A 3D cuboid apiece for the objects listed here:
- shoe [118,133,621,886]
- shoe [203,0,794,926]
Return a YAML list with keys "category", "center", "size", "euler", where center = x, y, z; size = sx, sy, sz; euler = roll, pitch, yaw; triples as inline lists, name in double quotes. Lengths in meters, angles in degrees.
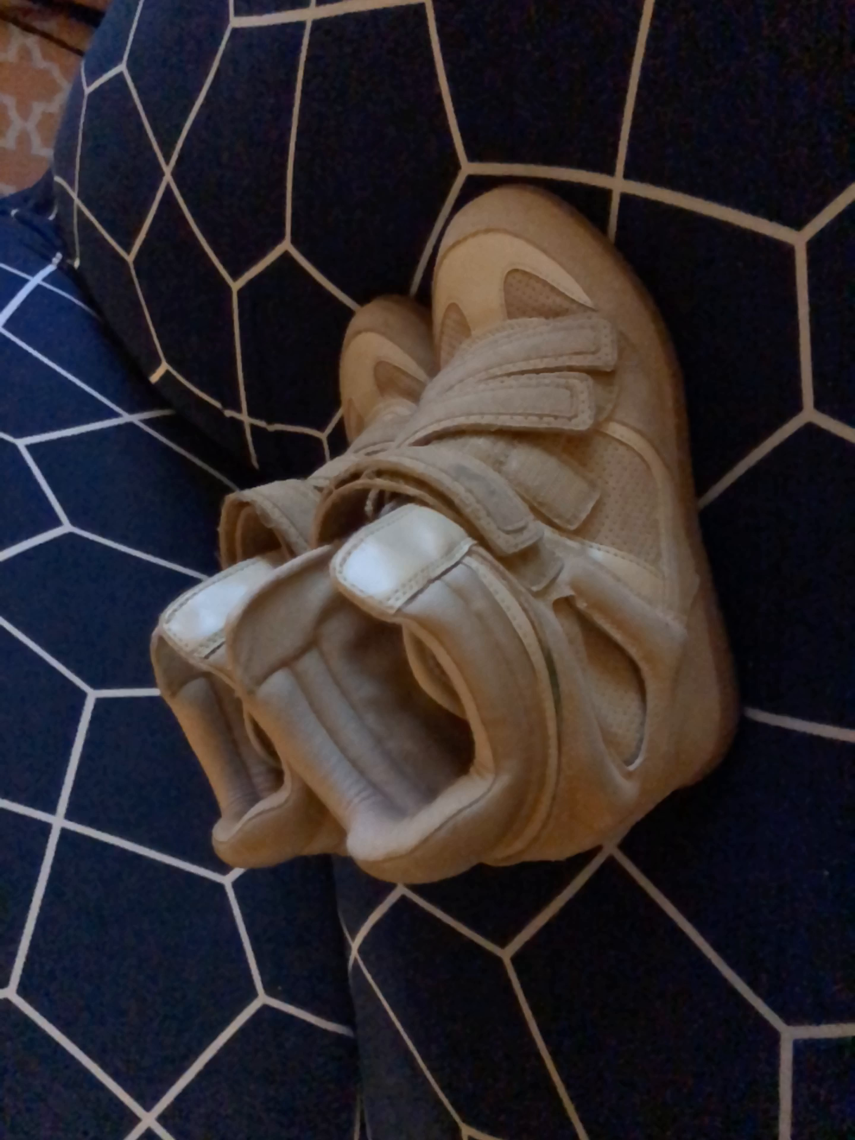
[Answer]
- category: "shoe"
  center: [-0.033, -0.019, 0.390]
  size: [0.100, 0.139, 0.260]
  euler: [-30, 63, 45]
- category: "shoe"
  center: [0.014, -0.037, 0.324]
  size: [0.101, 0.129, 0.280]
  euler: [-25, 66, 47]
